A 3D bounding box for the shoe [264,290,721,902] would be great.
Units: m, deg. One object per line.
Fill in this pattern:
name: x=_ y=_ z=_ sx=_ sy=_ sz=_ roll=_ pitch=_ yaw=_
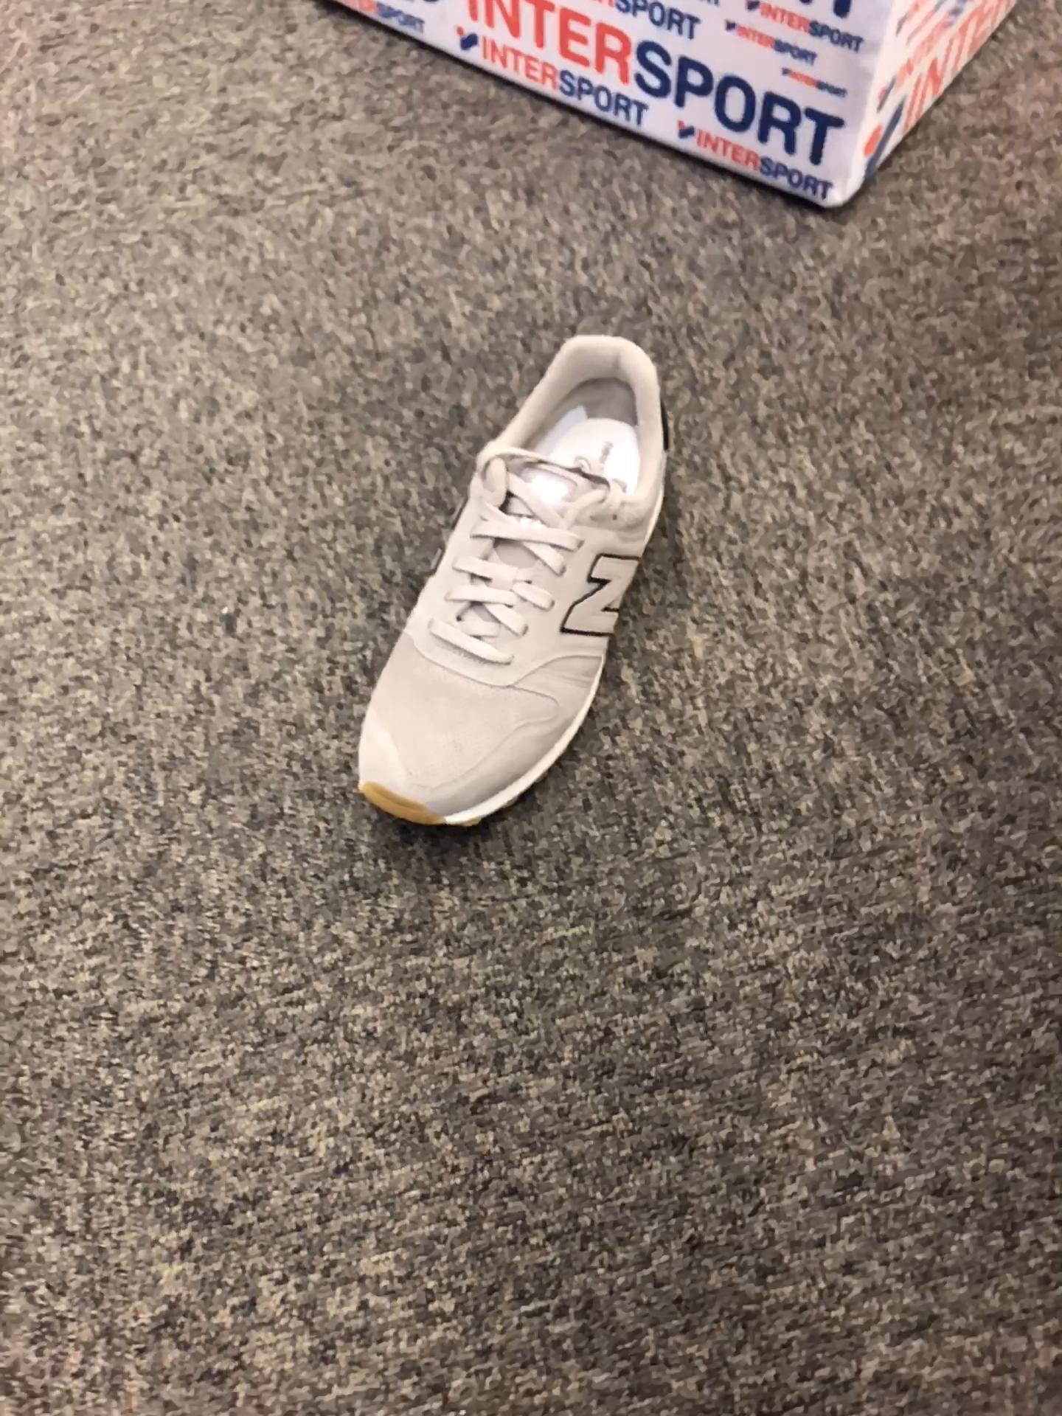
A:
shoe: x=-0.006 y=-0.059 z=0.563 sx=0.100 sy=0.110 sz=0.261 roll=21 pitch=64 yaw=12
